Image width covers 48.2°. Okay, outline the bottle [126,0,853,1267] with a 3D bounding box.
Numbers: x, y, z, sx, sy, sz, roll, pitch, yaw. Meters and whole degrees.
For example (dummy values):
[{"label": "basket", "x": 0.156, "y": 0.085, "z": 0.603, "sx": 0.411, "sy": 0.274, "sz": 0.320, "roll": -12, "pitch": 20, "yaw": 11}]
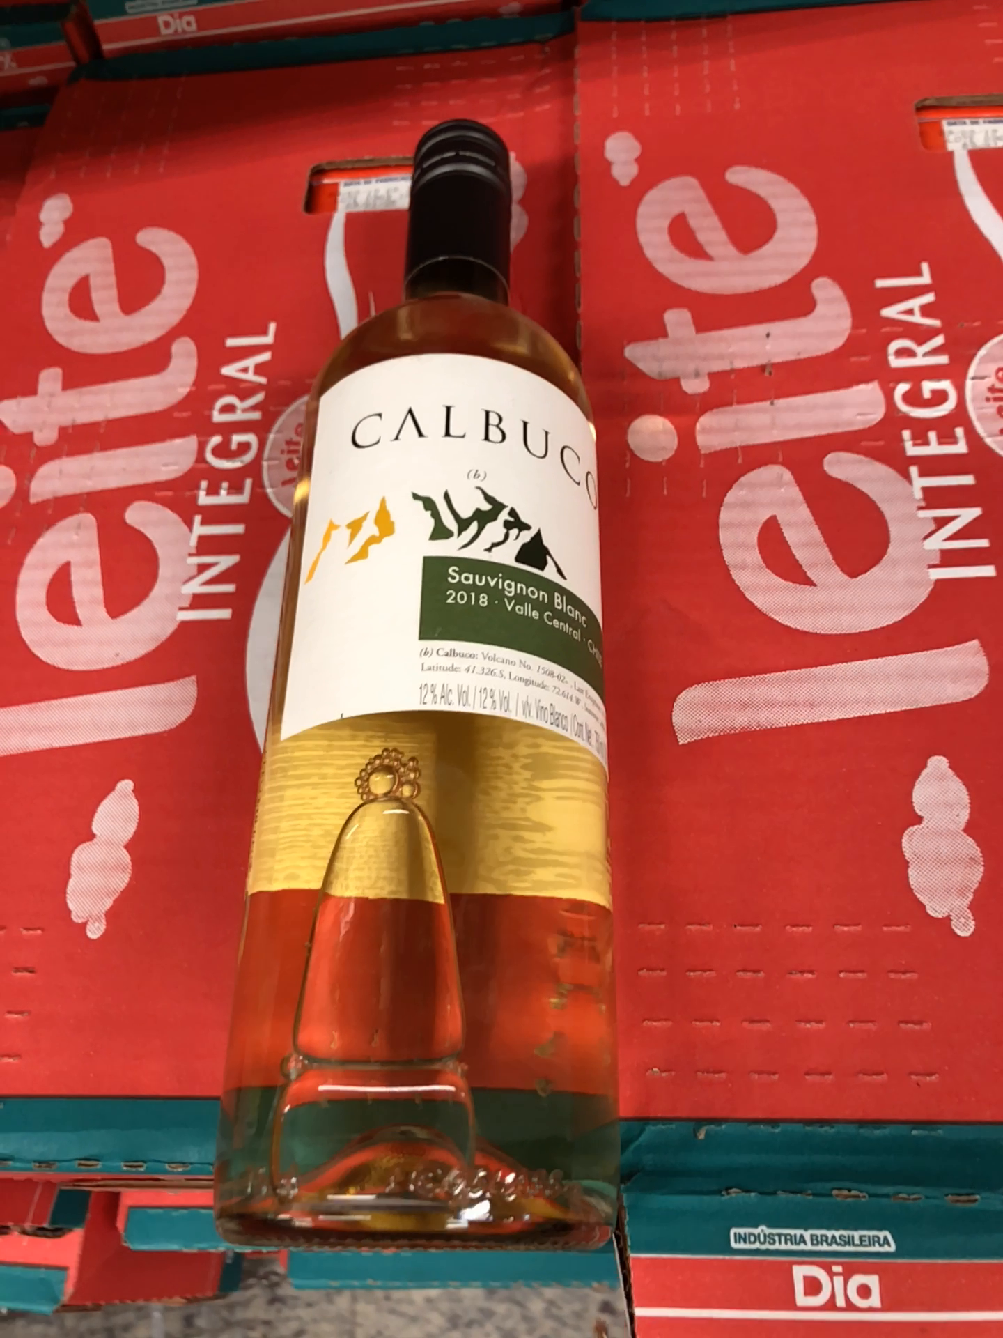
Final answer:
[{"label": "bottle", "x": -0.008, "y": -0.031, "z": 0.257, "sx": 0.090, "sy": 0.100, "sz": 0.291, "roll": 13, "pitch": 62, "yaw": -25}]
